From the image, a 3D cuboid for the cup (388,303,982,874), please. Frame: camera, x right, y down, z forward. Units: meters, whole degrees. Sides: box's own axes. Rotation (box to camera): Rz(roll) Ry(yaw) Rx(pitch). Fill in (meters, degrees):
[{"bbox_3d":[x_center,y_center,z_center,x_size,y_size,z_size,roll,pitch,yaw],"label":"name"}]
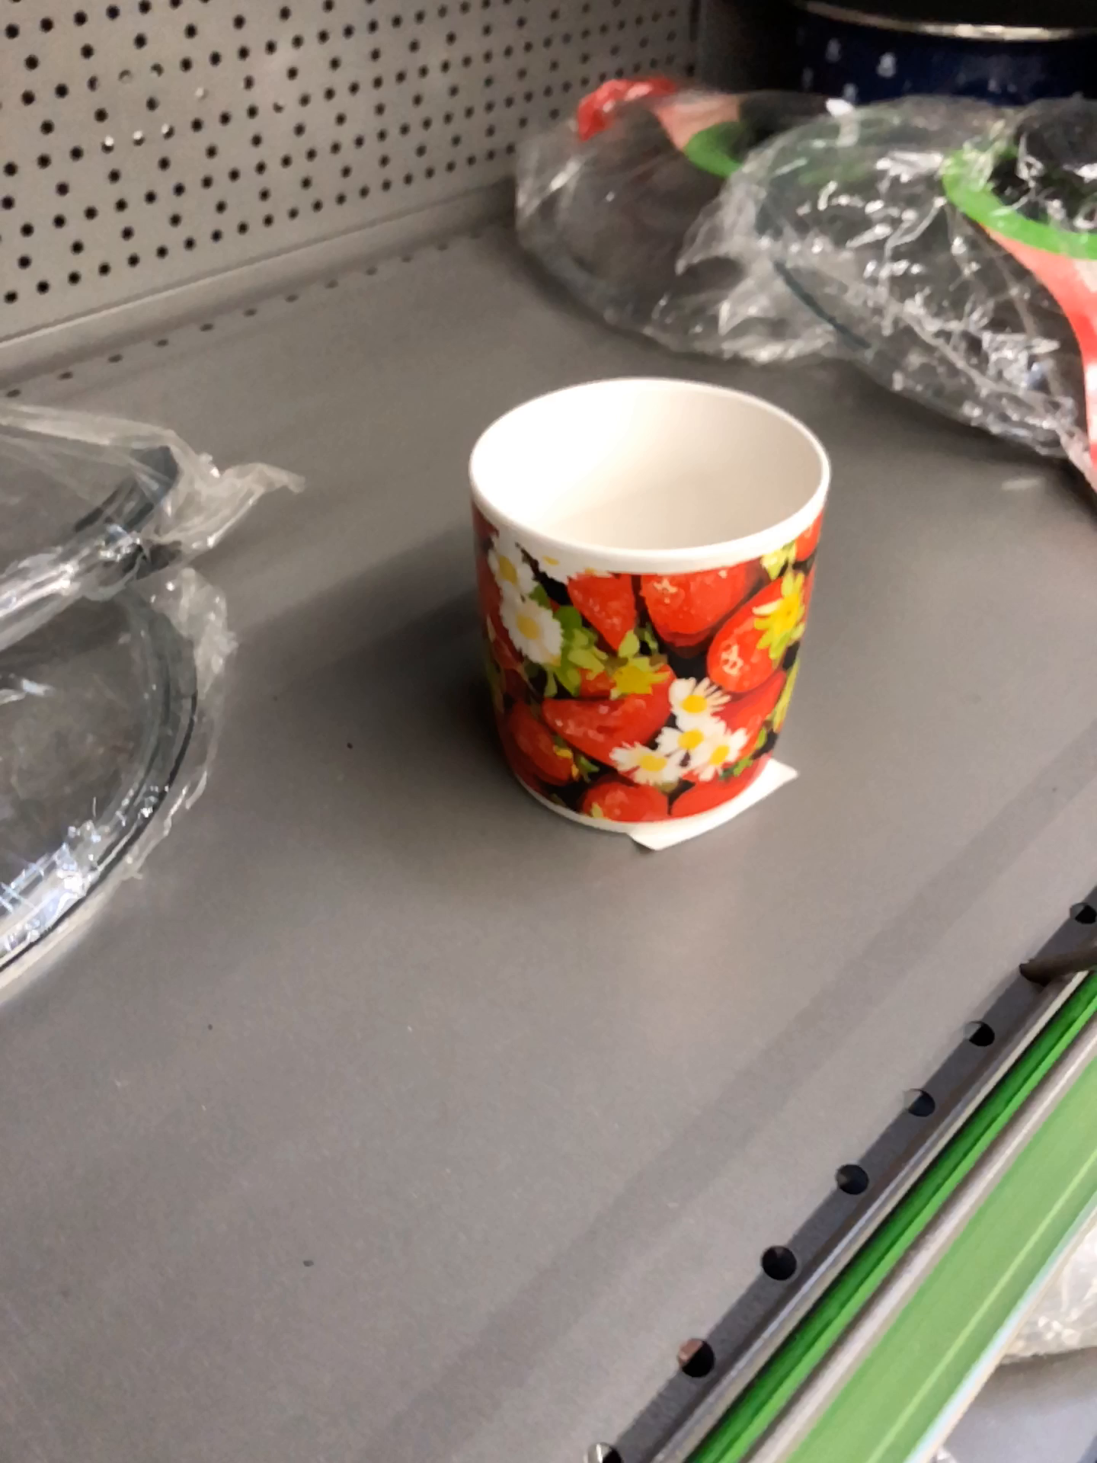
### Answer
[{"bbox_3d":[0.038,-0.047,0.328,0.090,0.078,0.129,28,48,29],"label":"cup"}]
